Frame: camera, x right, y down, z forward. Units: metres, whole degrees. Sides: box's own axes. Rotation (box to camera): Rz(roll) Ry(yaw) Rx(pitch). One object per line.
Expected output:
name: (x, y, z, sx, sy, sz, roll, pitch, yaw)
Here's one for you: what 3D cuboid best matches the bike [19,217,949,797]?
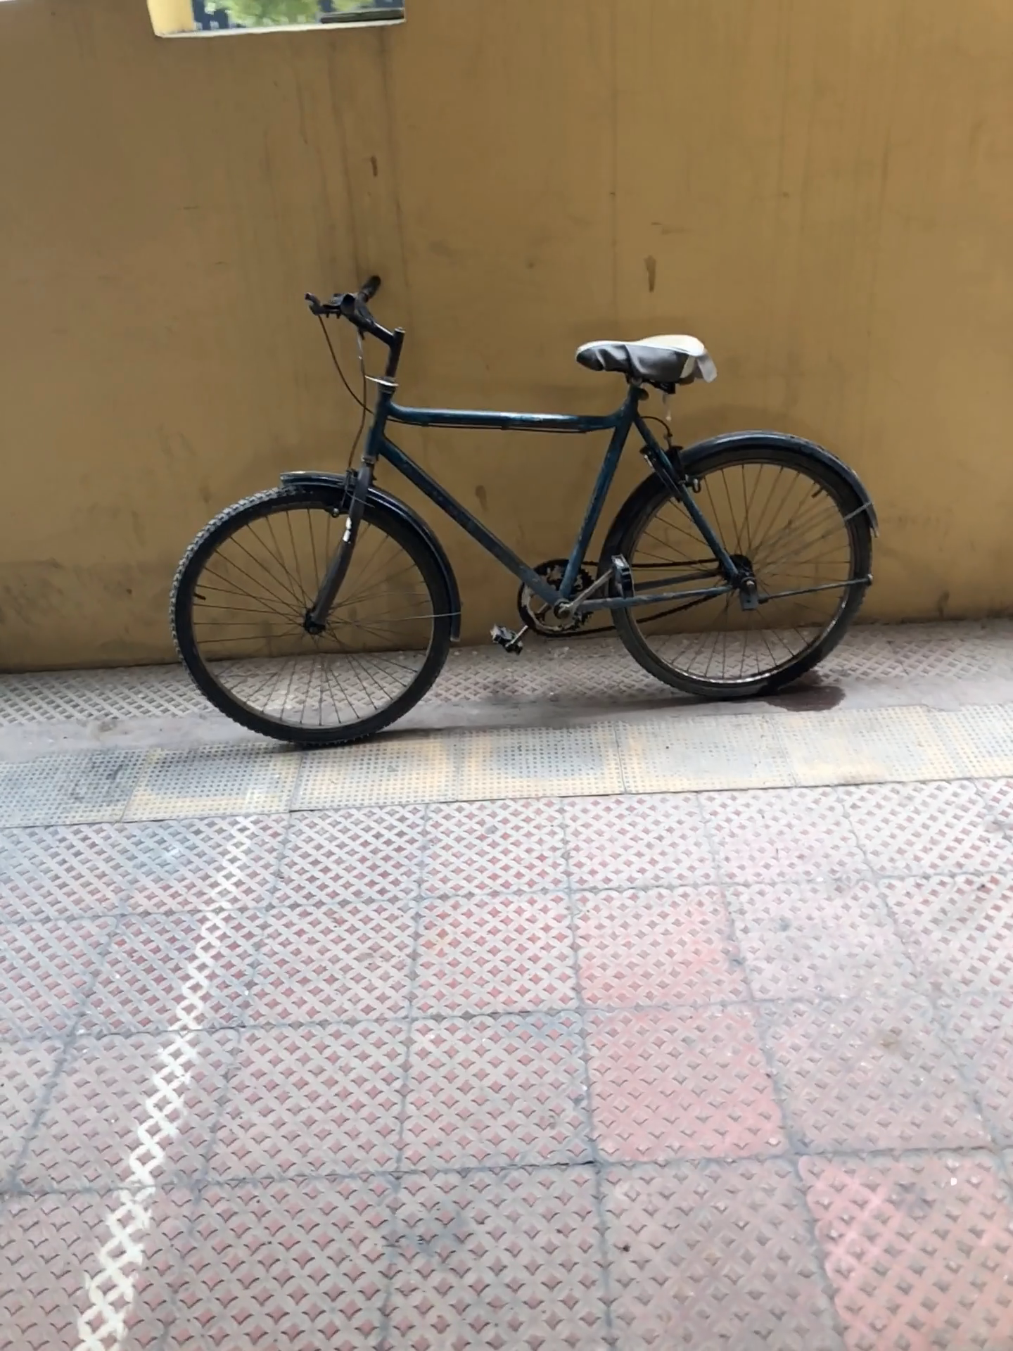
bike: (0.035, -0.371, 2.320, 1.545, 0.998, 0.544, -4, 31, -6)
